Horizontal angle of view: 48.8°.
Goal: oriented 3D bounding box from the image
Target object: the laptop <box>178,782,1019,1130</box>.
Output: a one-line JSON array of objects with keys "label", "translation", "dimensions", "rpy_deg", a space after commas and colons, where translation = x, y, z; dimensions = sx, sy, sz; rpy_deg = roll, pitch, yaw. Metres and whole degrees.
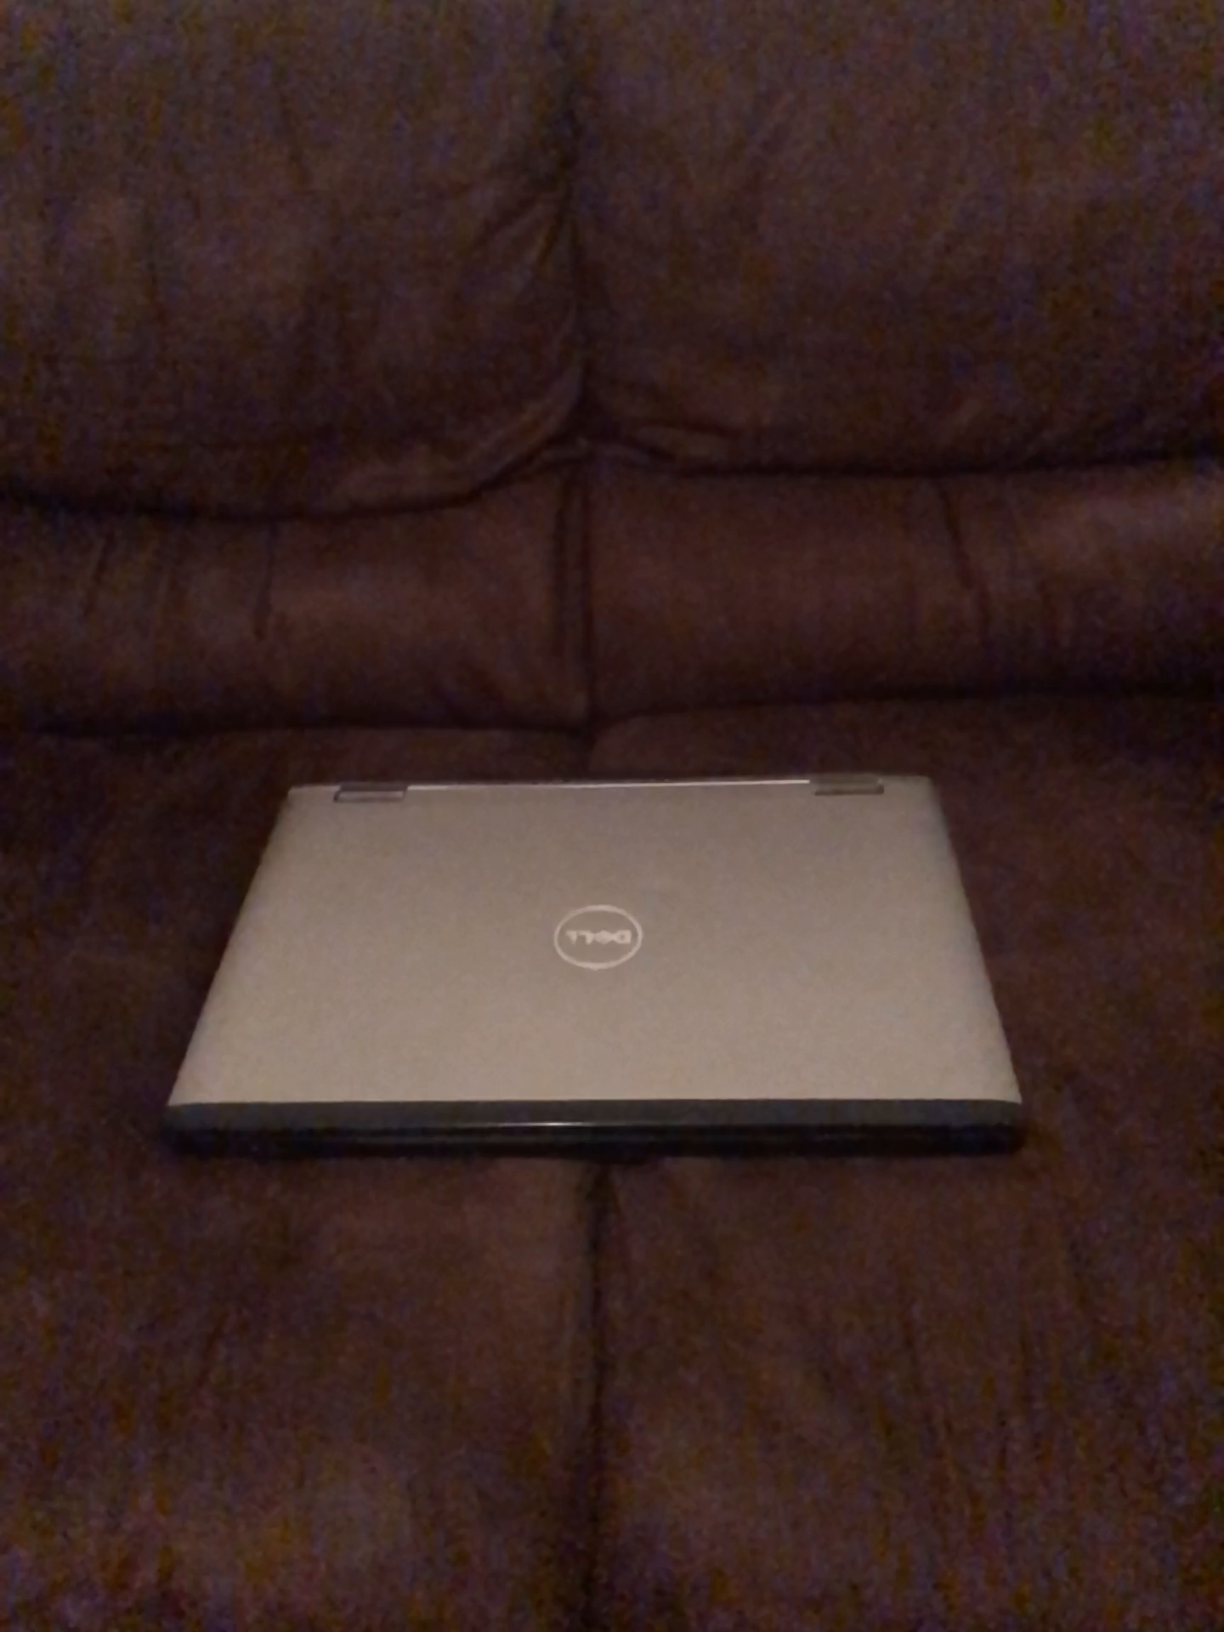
[{"label": "laptop", "translation": [-0.006, 0.059, 0.699], "dimensions": [0.369, 0.002, 0.261], "rpy_deg": [-1, 36, 1]}]
